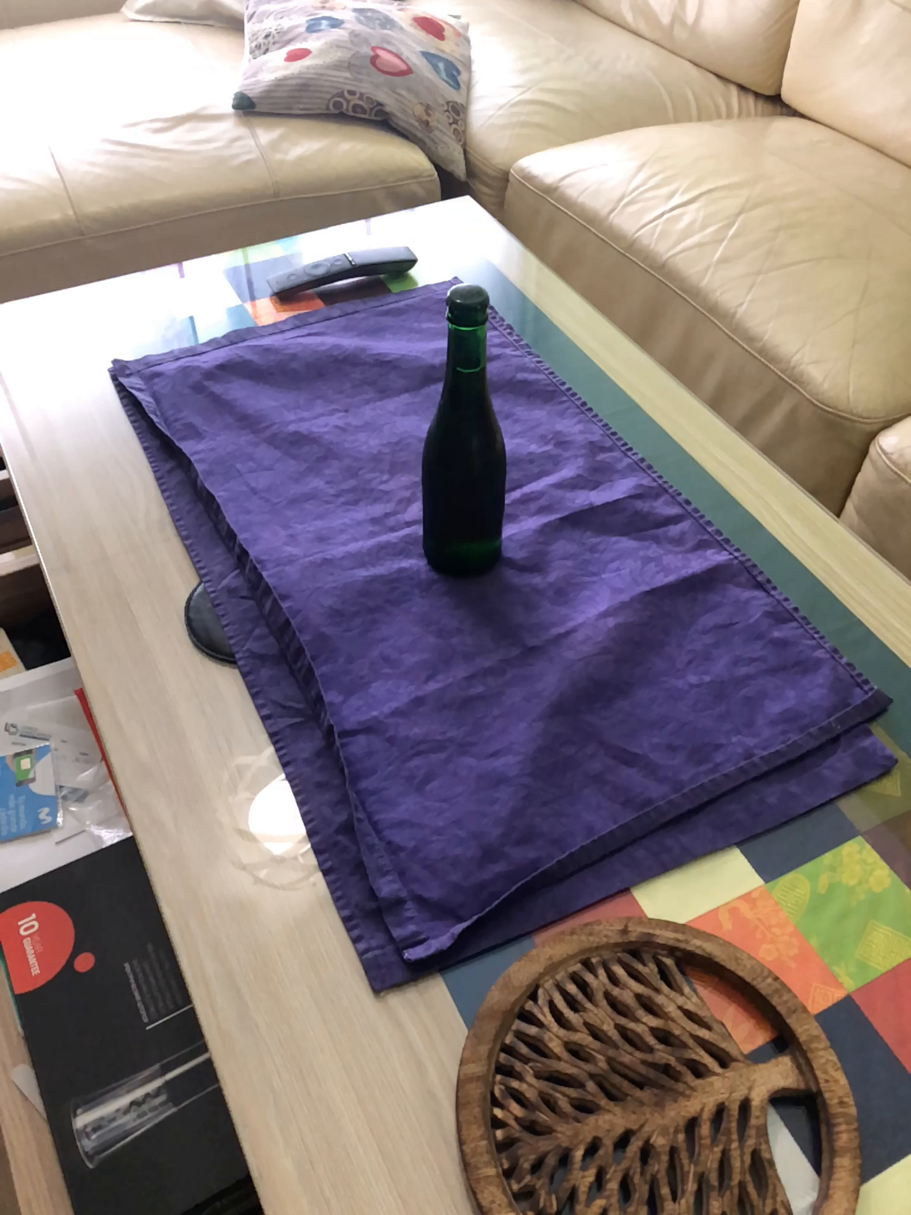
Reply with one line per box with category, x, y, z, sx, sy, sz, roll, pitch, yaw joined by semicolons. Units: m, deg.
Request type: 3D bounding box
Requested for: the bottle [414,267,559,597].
bottle;0.016;-0.111;0.686;0.080;0.219;0.070;-4;47;-4
